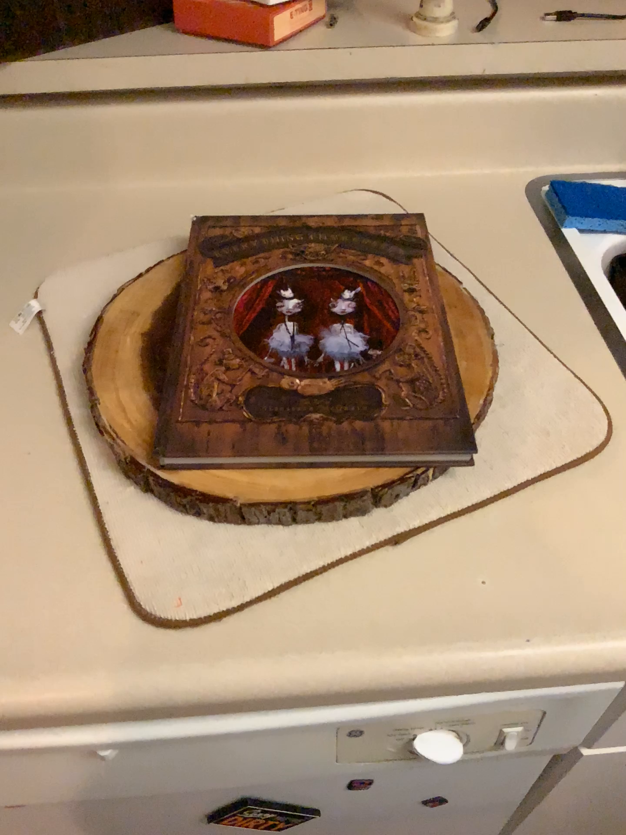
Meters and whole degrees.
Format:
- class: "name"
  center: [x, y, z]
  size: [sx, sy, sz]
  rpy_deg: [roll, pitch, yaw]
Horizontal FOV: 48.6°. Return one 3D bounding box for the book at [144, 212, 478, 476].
- class: "book"
  center: [-0.004, -0.081, 0.589]
  size: [0.230, 0.020, 0.310]
  rpy_deg: [-1, 47, -1]
